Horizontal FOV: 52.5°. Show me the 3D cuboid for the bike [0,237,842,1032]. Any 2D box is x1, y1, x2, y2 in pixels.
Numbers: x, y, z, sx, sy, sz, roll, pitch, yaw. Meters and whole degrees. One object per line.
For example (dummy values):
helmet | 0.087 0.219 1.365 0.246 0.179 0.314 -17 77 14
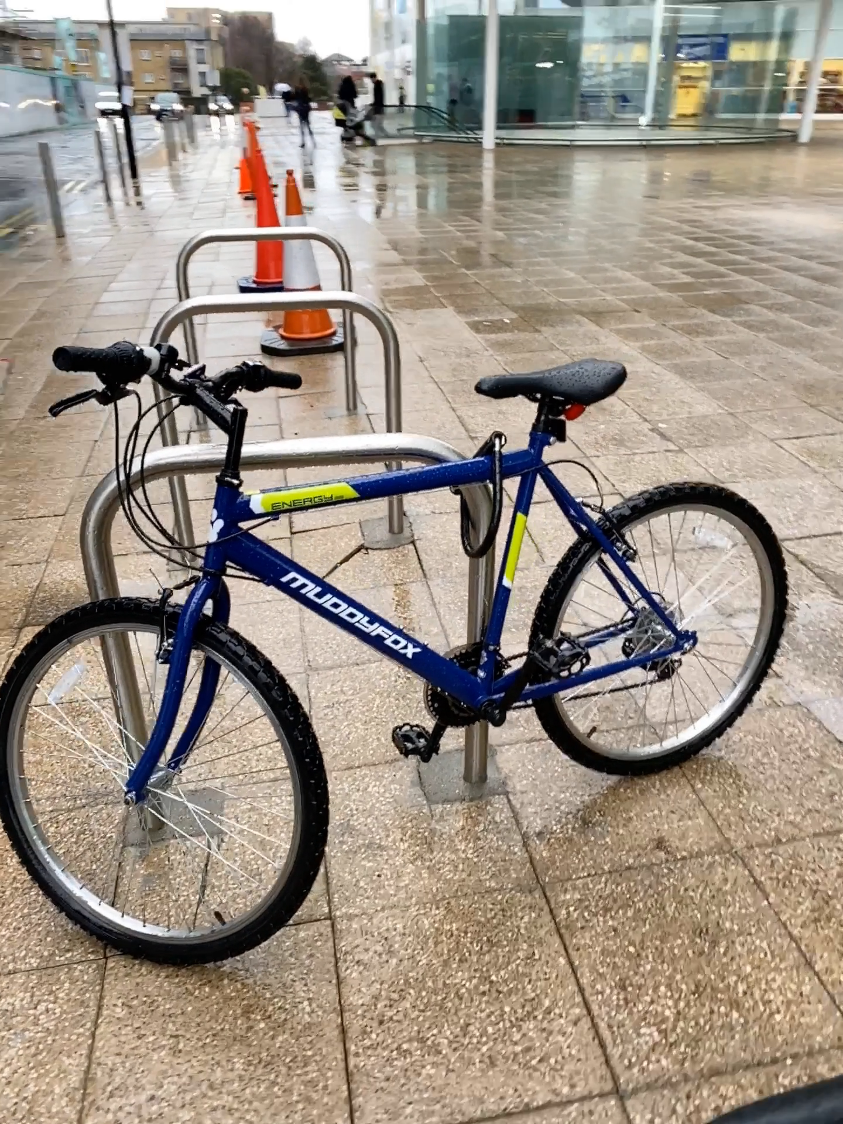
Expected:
bike | 0.010 0.050 1.610 1.594 1.012 0.600 -10 29 -13
